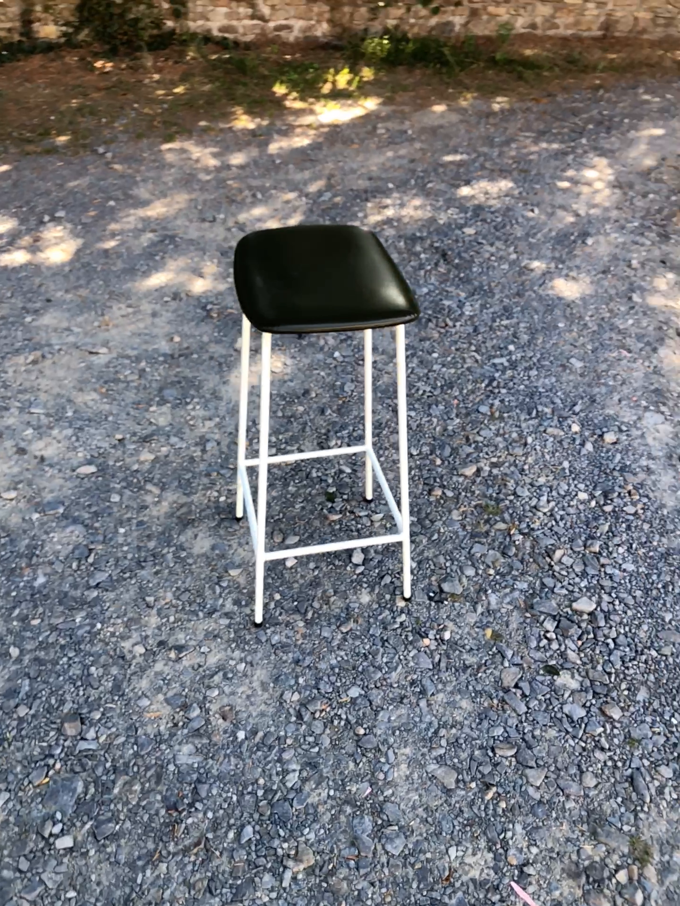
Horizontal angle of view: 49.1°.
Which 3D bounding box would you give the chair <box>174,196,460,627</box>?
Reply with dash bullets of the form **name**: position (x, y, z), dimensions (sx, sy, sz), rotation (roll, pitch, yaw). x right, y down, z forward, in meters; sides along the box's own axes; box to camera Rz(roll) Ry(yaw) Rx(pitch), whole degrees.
- **chair**: position (-0.061, -0.063, 1.352), dimensions (0.370, 0.646, 0.372), rotation (-8, 42, -11)
